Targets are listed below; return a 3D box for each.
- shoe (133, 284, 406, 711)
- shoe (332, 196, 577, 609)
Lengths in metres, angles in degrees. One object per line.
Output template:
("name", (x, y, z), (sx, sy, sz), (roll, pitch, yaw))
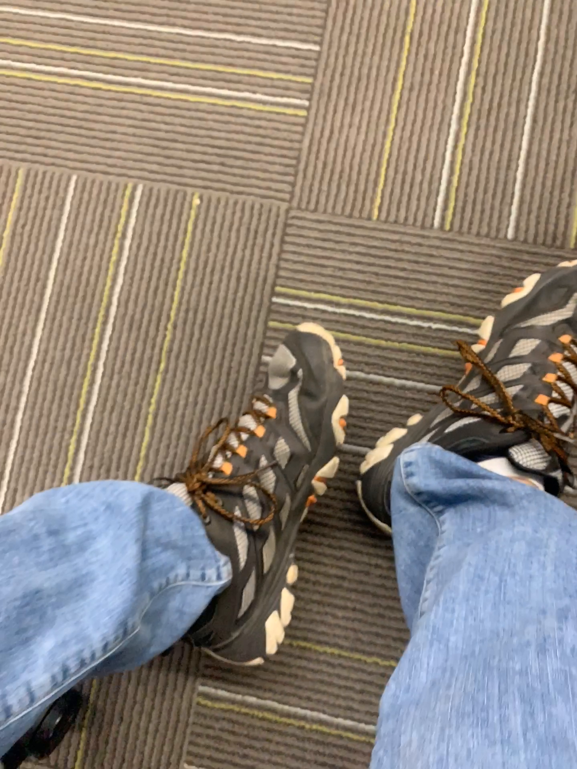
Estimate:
("shoe", (-0.022, 0.088, 0.526), (0.127, 0.119, 0.325), (12, 93, -33))
("shoe", (0.206, 0.022, 0.514), (0.325, 0.119, 0.119), (-50, 48, 5))
